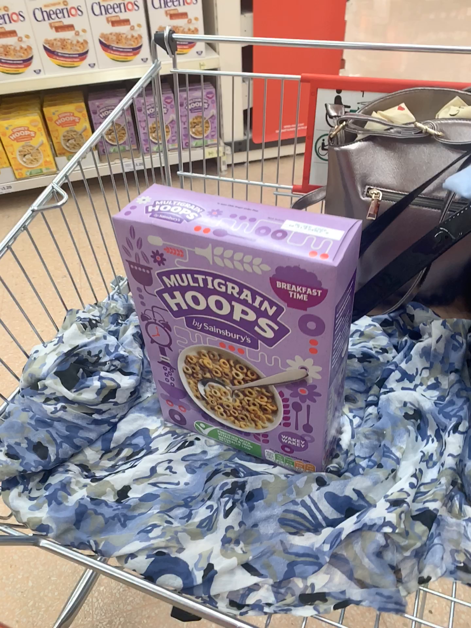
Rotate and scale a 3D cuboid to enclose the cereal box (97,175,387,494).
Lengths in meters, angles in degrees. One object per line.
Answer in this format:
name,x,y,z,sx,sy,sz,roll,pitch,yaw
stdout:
cereal box,0.007,0.027,0.450,0.210,0.267,0.071,16,44,22
